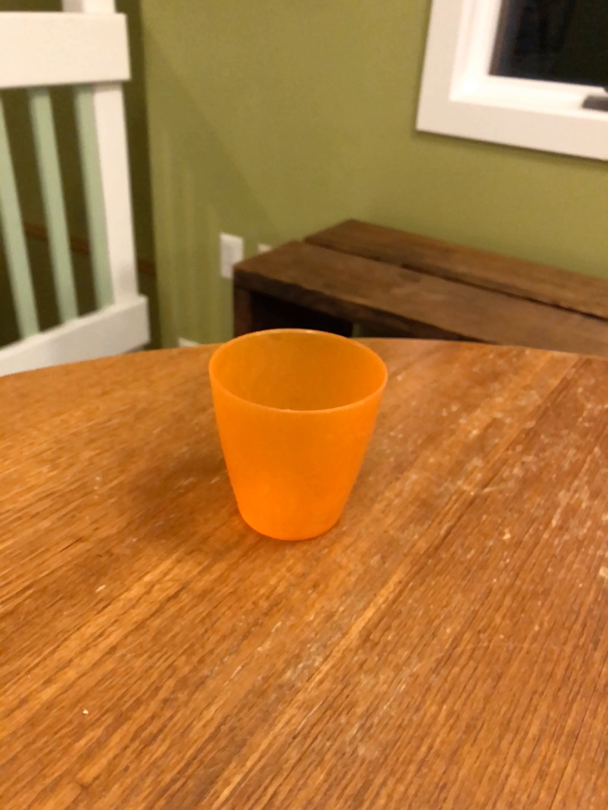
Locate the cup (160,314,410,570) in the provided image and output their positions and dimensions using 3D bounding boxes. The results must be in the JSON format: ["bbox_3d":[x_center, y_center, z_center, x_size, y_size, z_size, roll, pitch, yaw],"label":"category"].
[{"bbox_3d":[-0.007,0.011,0.306,0.079,0.066,0.080,3,30,-1],"label":"cup"}]
